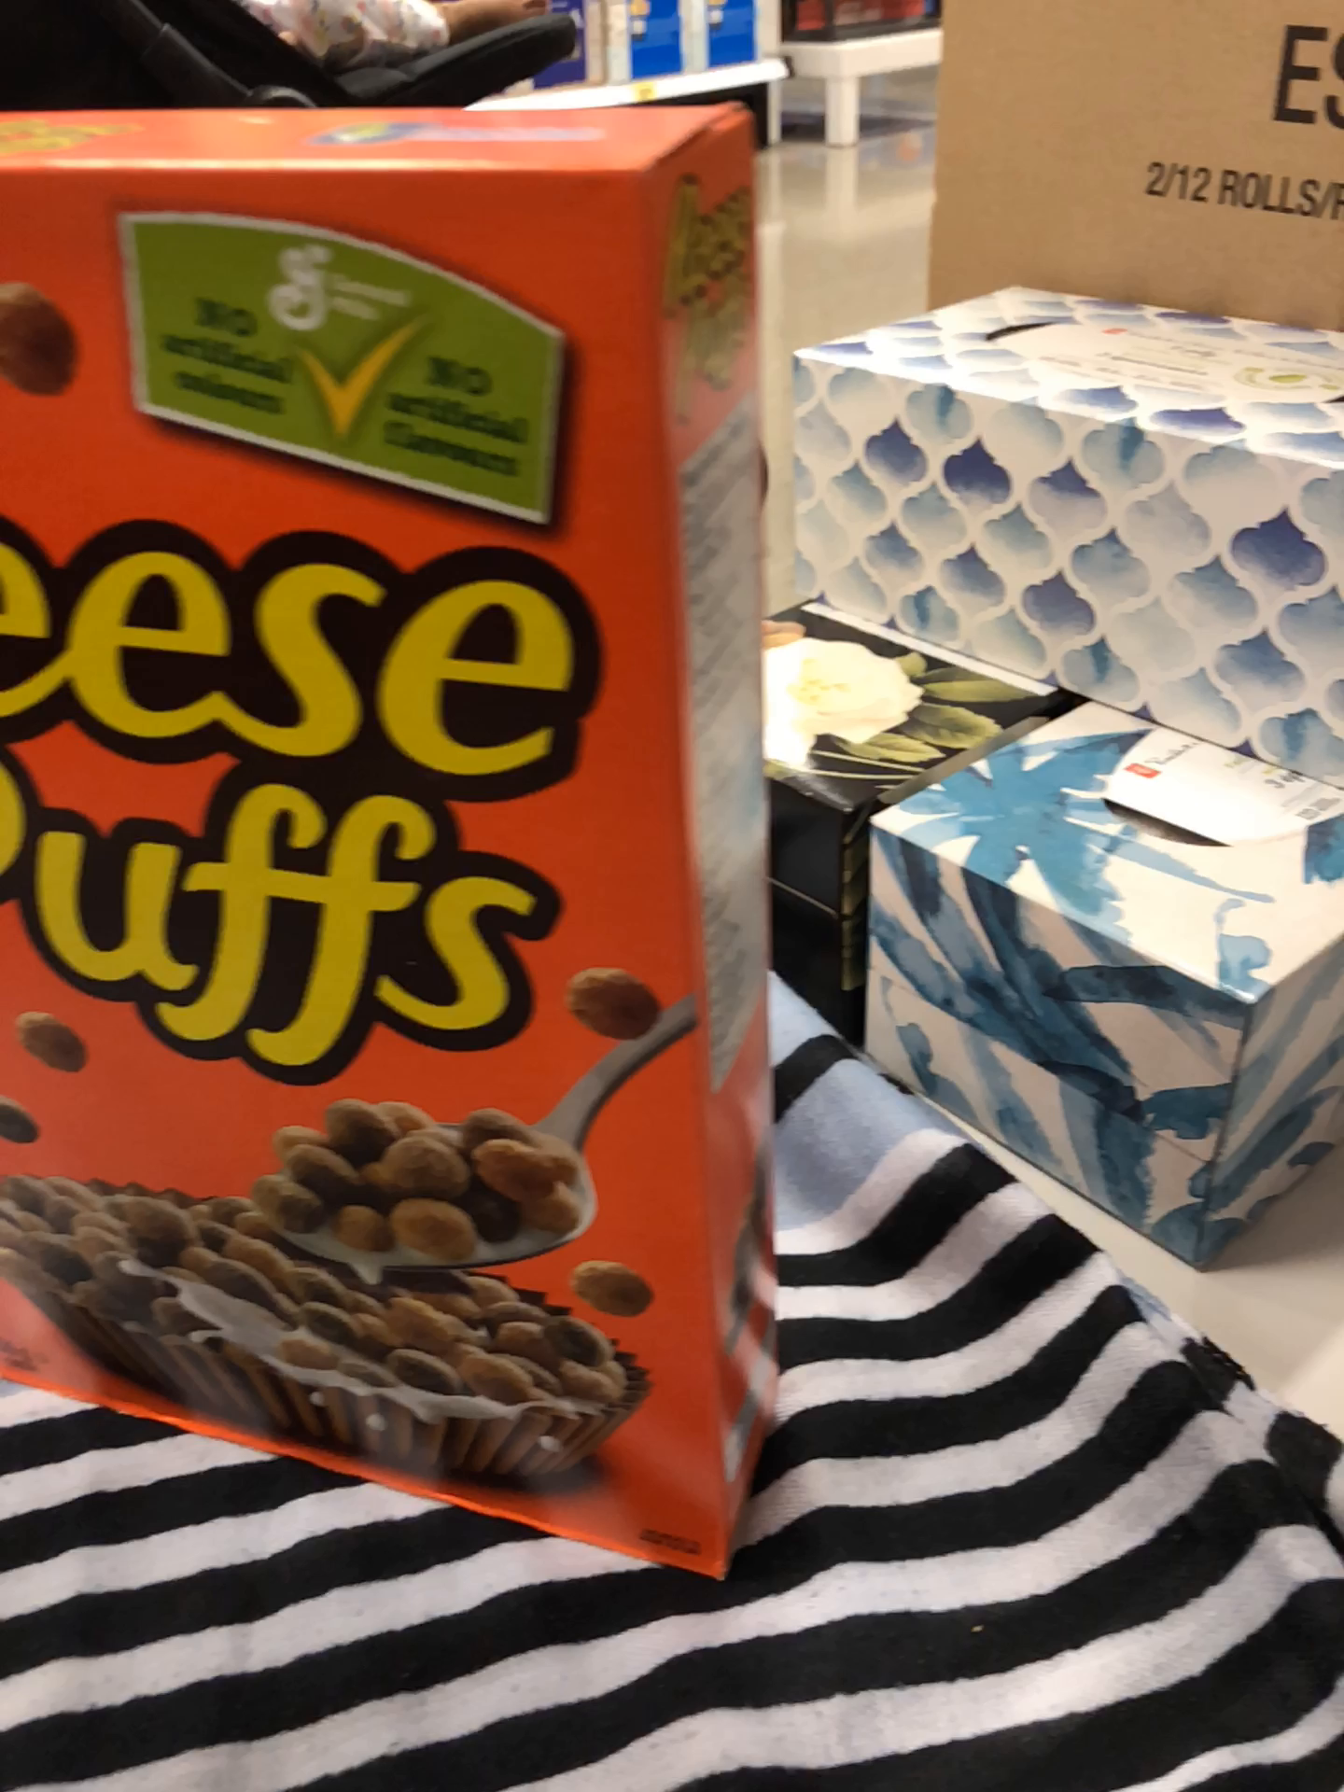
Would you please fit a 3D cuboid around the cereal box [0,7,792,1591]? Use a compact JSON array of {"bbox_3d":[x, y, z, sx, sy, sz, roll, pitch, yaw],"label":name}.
[{"bbox_3d":[-0.086,0.001,0.270,0.210,0.269,0.040,8,35,17],"label":"cereal box"}]
